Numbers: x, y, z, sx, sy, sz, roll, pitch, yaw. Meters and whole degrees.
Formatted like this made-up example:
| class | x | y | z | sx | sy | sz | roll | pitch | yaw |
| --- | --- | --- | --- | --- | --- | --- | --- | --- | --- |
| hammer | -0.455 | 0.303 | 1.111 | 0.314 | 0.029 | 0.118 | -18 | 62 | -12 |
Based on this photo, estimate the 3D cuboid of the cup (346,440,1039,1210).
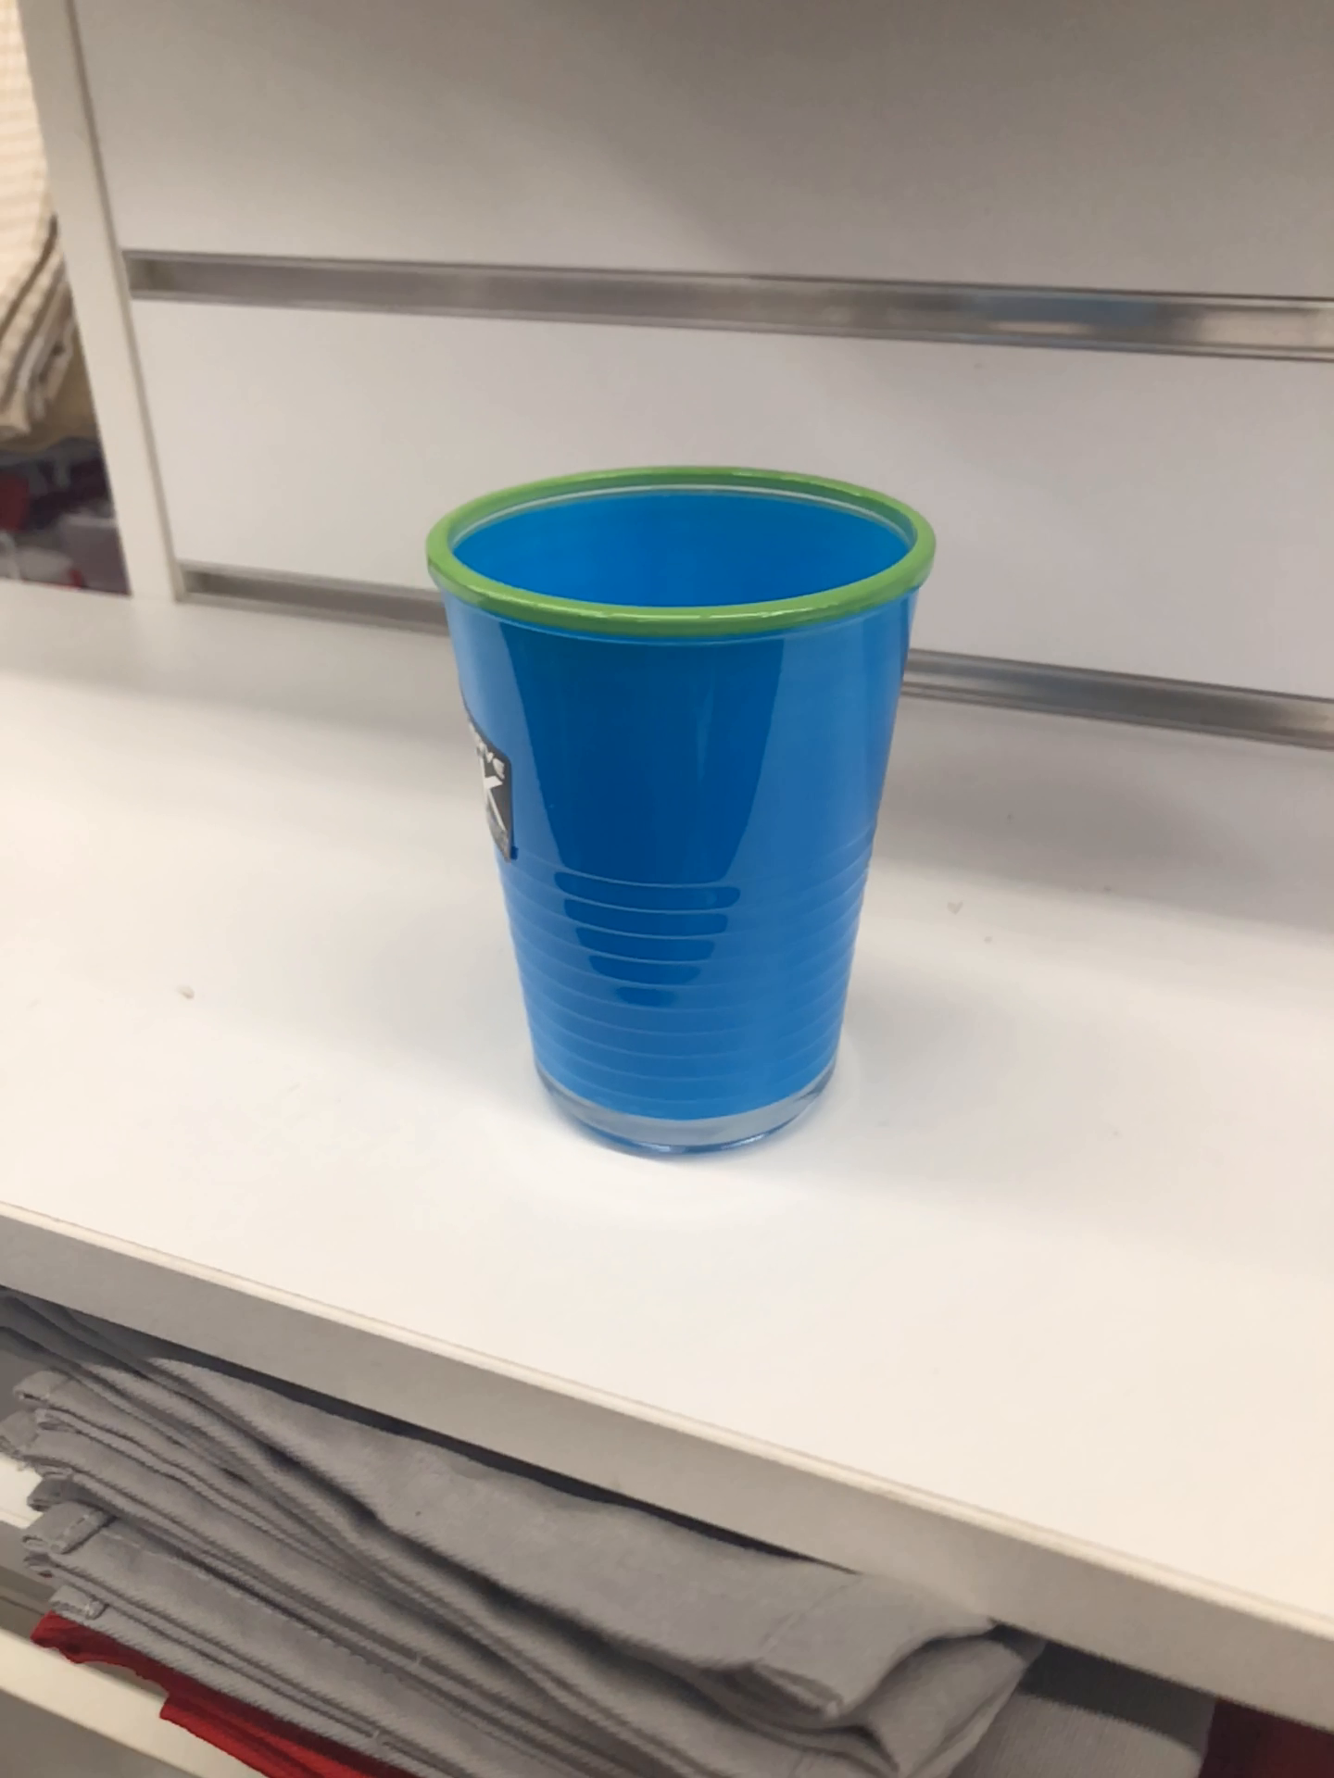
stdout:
| class | x | y | z | sx | sy | sz | roll | pitch | yaw |
| --- | --- | --- | --- | --- | --- | --- | --- | --- | --- |
| cup | 0.009 | -0.018 | 0.251 | 0.080 | 0.090 | 0.084 | 0 | 29 | 0 |
